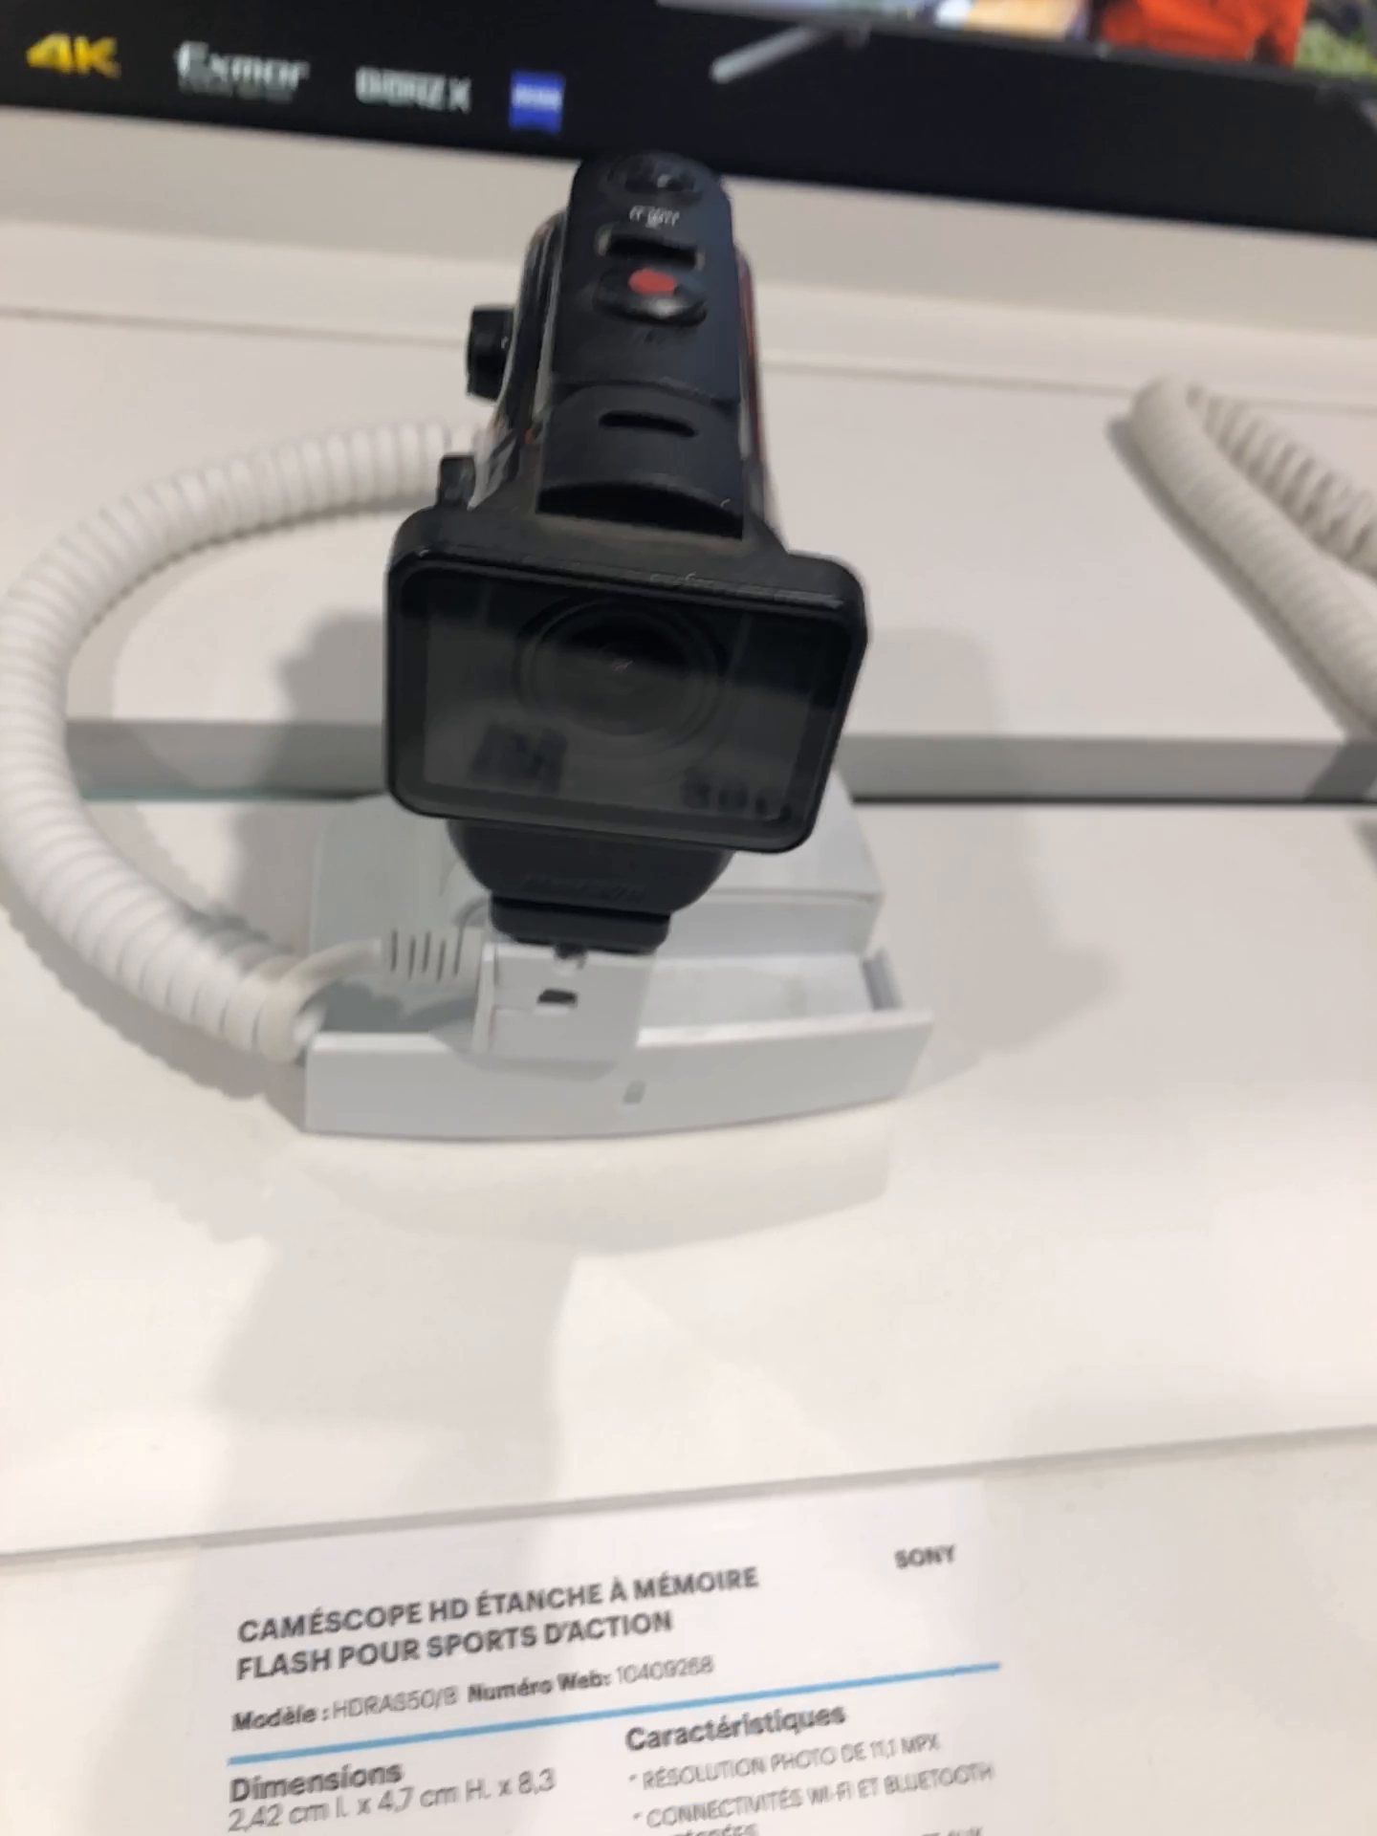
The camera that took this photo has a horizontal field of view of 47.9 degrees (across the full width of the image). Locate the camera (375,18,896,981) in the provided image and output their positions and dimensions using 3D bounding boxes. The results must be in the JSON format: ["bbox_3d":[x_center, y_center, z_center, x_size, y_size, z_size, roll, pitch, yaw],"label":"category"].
[{"bbox_3d":[-0.009,-0.048,0.184,0.045,0.064,0.088,5,56,-7],"label":"camera"}]
